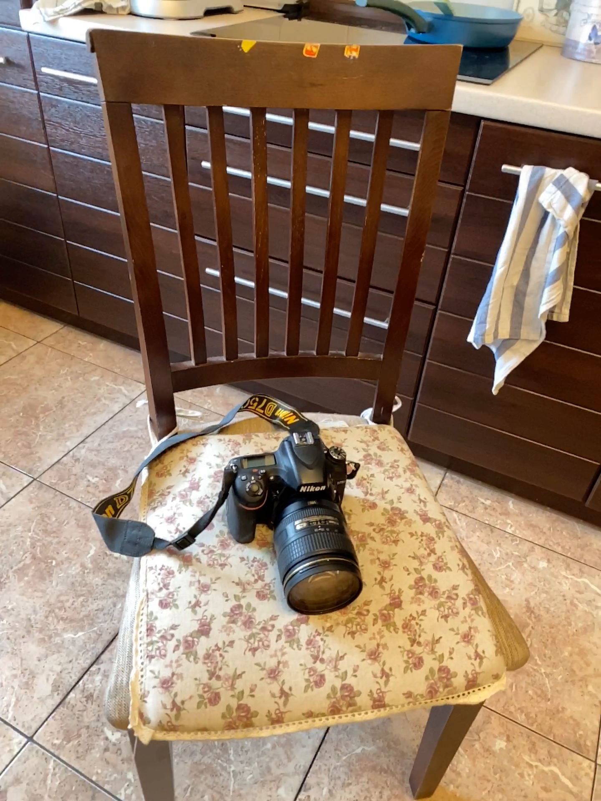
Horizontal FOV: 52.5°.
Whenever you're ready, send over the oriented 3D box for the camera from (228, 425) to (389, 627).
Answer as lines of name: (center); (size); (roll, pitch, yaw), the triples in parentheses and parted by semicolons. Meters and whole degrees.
camera: (-0.003, 0.130, 0.666); (0.135, 0.119, 0.165); (-4, 38, -12)
